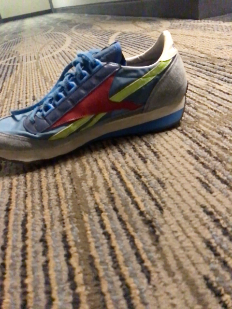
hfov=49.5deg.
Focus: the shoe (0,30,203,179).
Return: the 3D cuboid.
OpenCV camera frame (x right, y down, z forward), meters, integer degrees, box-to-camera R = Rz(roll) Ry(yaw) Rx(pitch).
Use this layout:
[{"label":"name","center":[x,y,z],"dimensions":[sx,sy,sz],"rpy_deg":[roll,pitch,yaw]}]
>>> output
[{"label":"shoe","center":[-0.038,-0.071,0.311],"dimensions":[0.260,0.095,0.101],"rpy_deg":[-15,32,-7]}]
